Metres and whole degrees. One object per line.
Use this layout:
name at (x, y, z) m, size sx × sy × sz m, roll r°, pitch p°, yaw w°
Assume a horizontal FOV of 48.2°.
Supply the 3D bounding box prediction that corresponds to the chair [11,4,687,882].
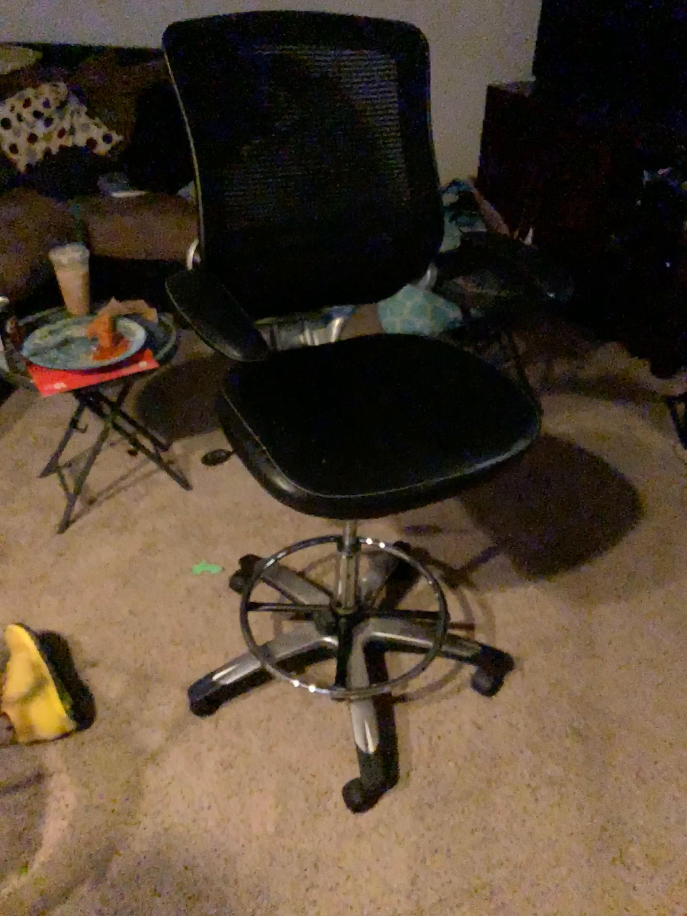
chair at (-0.023, -0.105, 1.417) m, size 0.760 × 1.170 × 0.930 m, roll -15°, pitch 39°, yaw -22°
